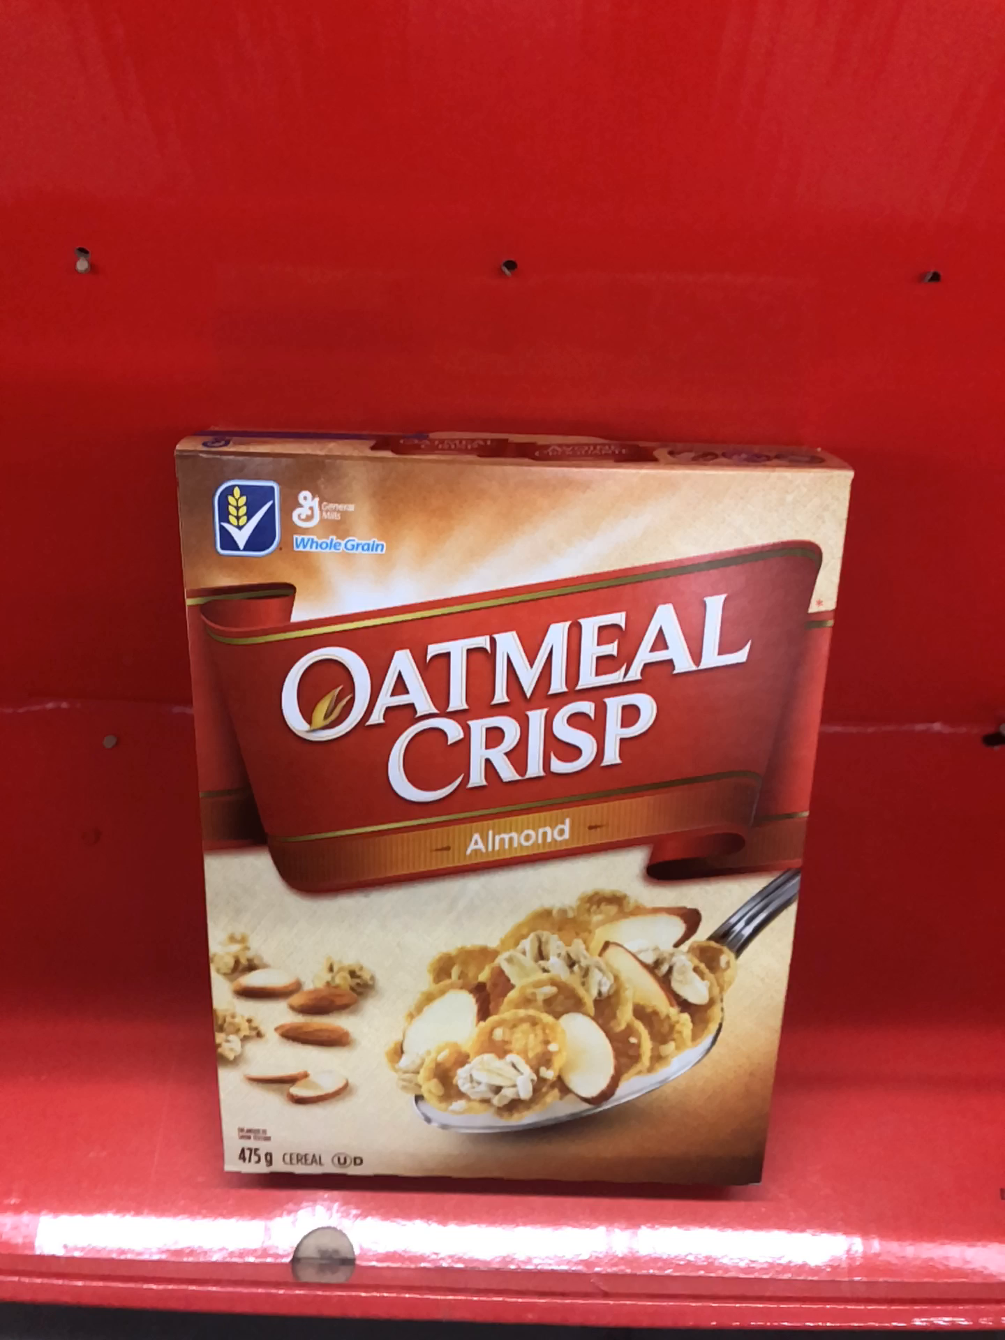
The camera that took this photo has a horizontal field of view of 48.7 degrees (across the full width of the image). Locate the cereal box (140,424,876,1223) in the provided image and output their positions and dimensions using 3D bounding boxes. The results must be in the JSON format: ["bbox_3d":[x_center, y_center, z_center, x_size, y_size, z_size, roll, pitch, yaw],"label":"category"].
[{"bbox_3d":[-0.004,0.059,0.391,0.210,0.269,0.070,2,18,-3],"label":"cereal box"}]
